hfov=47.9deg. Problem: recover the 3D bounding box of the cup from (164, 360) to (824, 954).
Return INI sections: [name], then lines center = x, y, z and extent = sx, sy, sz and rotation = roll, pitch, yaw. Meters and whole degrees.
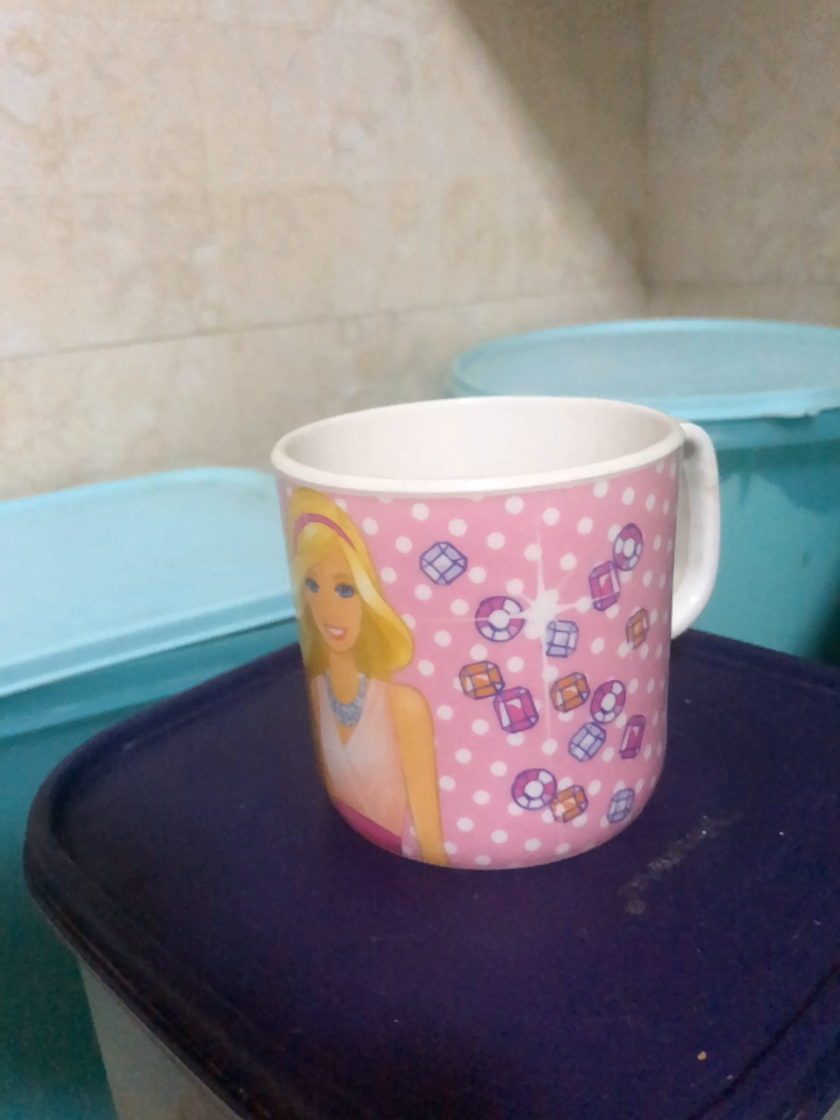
[cup]
center = 0.022, 0.005, 0.214
extent = 0.120, 0.080, 0.080
rotation = -20, 24, -39
